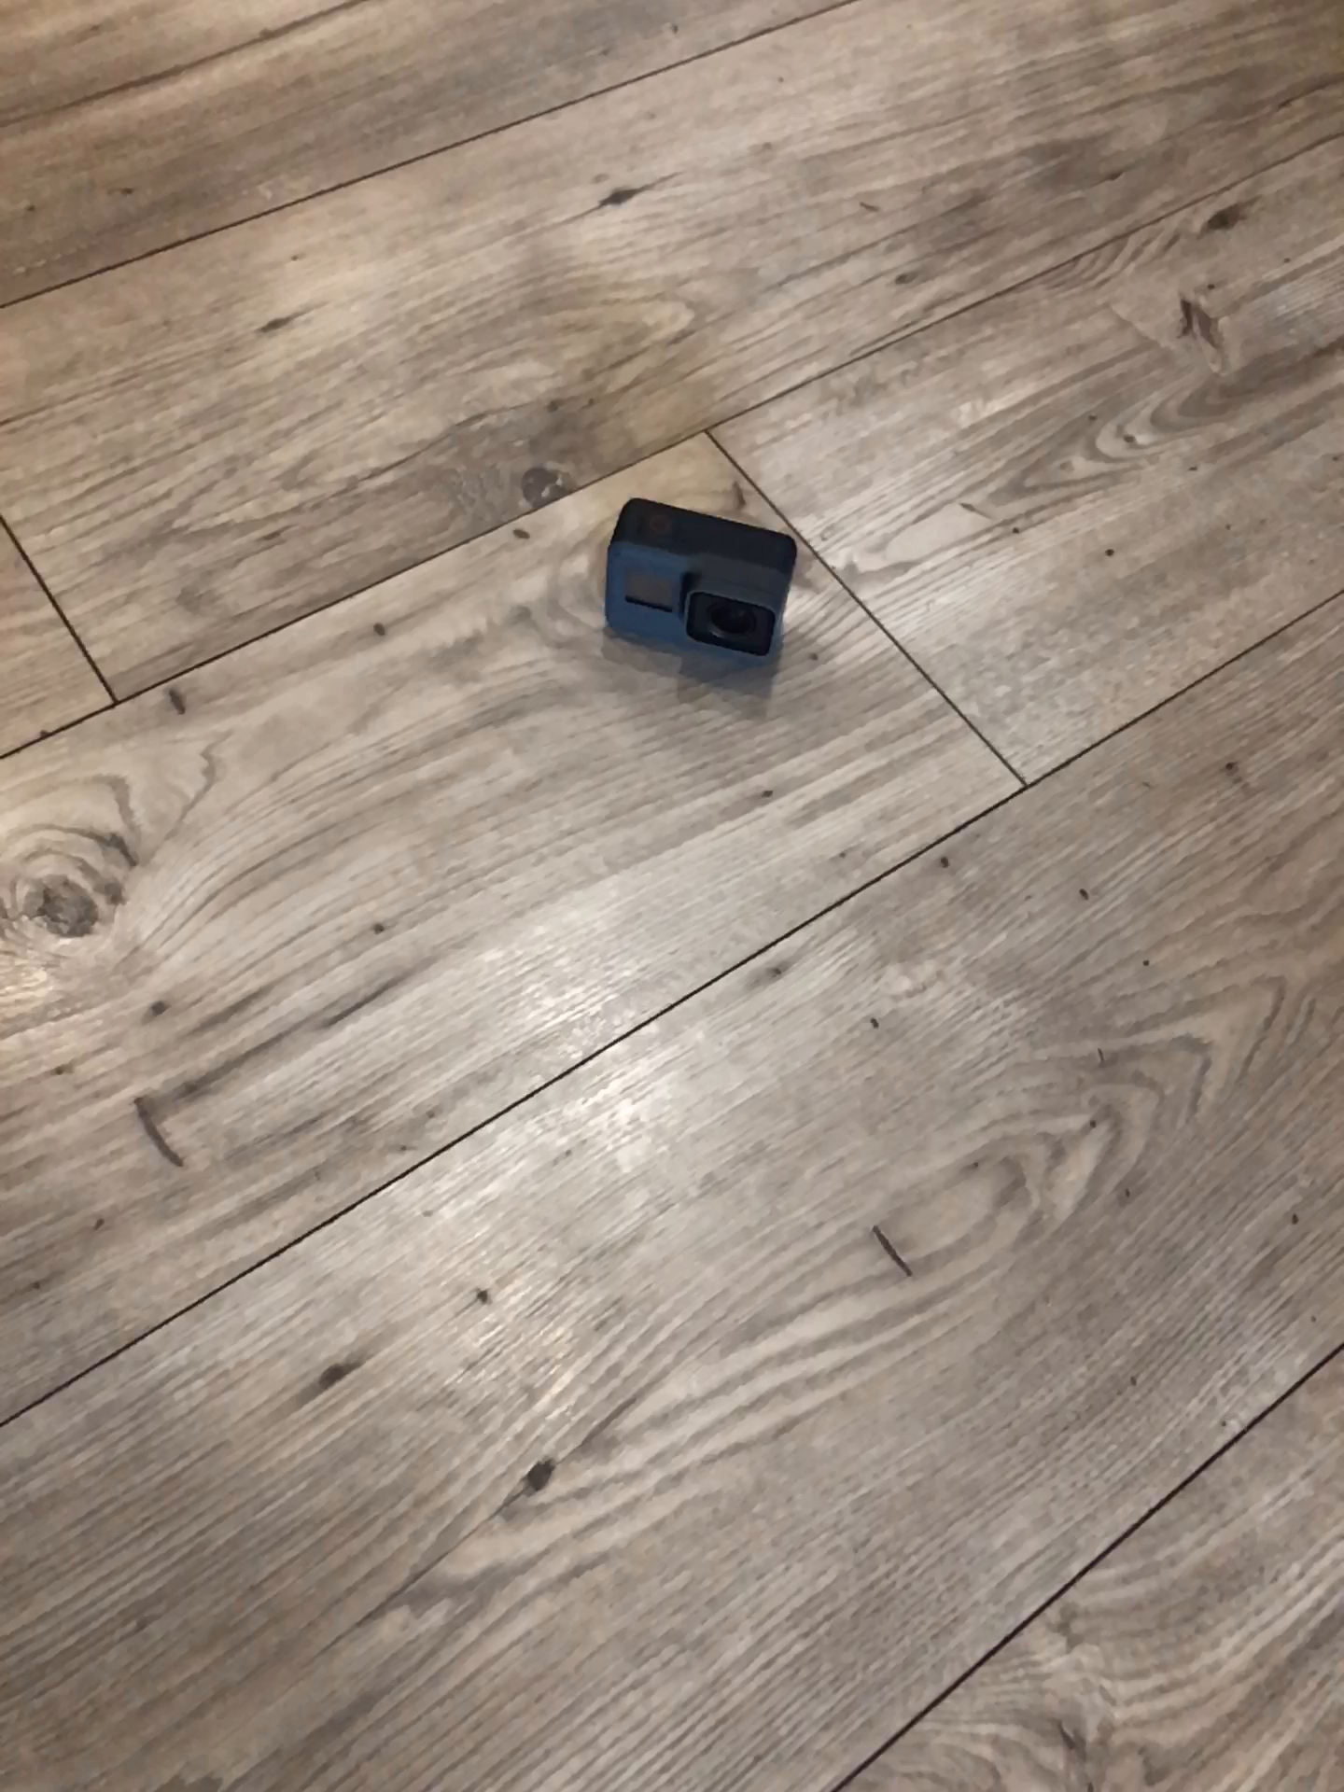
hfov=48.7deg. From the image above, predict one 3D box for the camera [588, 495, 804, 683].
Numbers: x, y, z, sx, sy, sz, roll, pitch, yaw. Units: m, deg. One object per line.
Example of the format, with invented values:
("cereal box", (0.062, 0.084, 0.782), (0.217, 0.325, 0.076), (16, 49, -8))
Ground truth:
("camera", (0.007, -0.104, 0.507), (0.065, 0.040, 0.032), (14, 62, 2))
